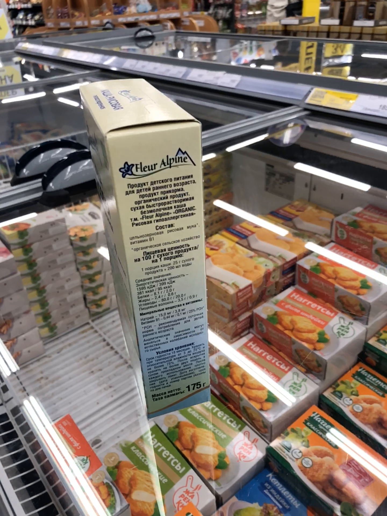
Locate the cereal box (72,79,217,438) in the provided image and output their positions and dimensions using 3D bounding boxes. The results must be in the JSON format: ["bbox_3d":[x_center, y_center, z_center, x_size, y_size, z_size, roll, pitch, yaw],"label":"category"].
[{"bbox_3d":[-0.034,-0.004,0.296,0.050,0.199,0.141,-12,33,-13],"label":"cereal box"}]
